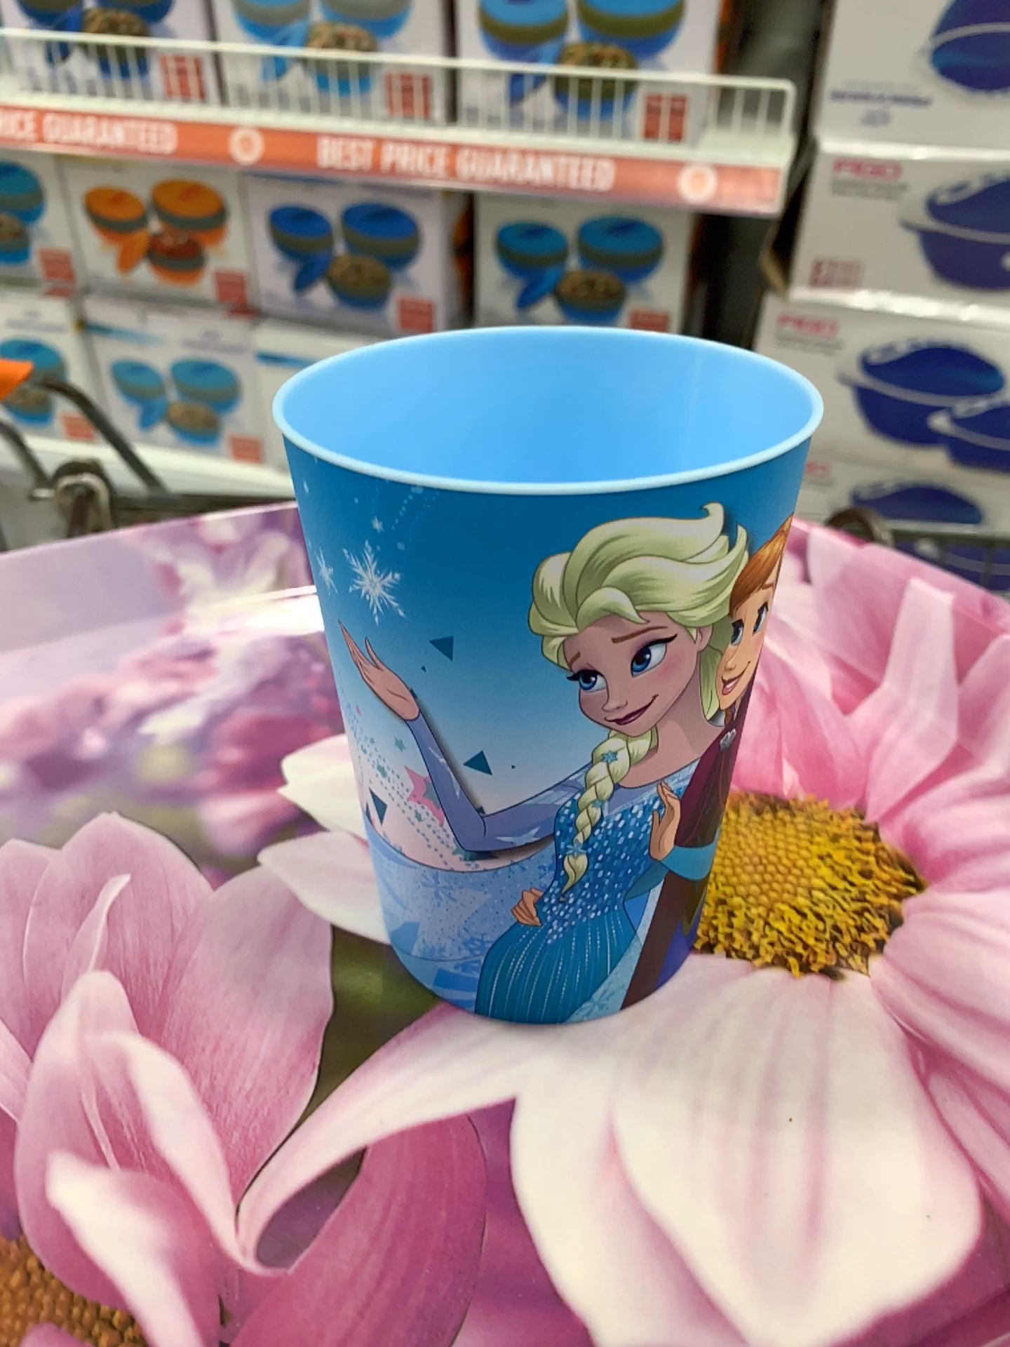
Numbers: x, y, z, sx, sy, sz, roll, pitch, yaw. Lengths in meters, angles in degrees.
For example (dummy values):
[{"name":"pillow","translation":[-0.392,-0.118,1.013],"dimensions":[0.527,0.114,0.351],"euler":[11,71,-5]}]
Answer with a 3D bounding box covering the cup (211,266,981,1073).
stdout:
[{"name":"cup","translation":[0.011,0.002,0.167],"dimensions":[0.080,0.109,0.060],"euler":[2,36,3]}]
